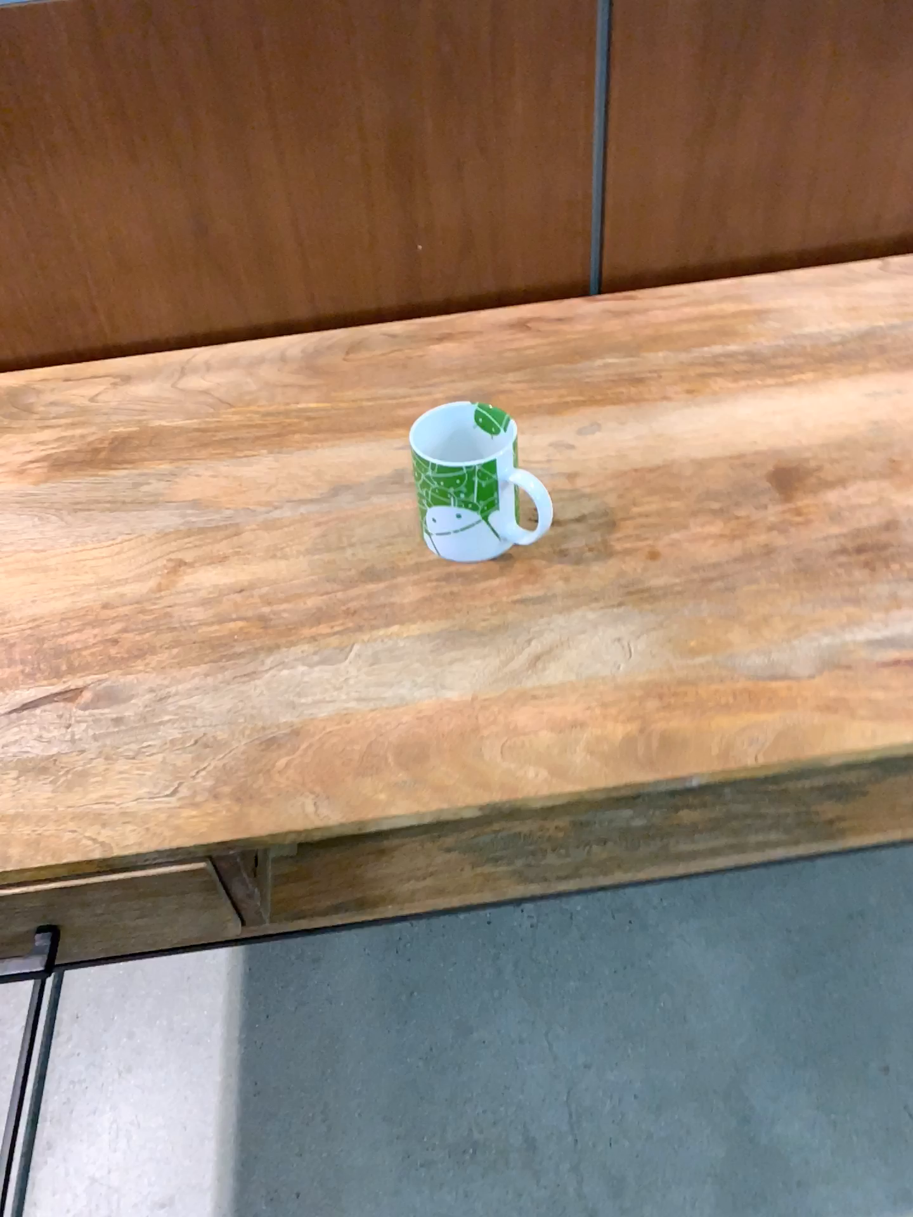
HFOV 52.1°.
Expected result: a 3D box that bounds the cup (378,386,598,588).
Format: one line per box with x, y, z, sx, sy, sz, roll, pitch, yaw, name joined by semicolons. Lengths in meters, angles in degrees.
0.024;-0.093;0.686;0.121;0.070;0.100;28;54;30;cup
